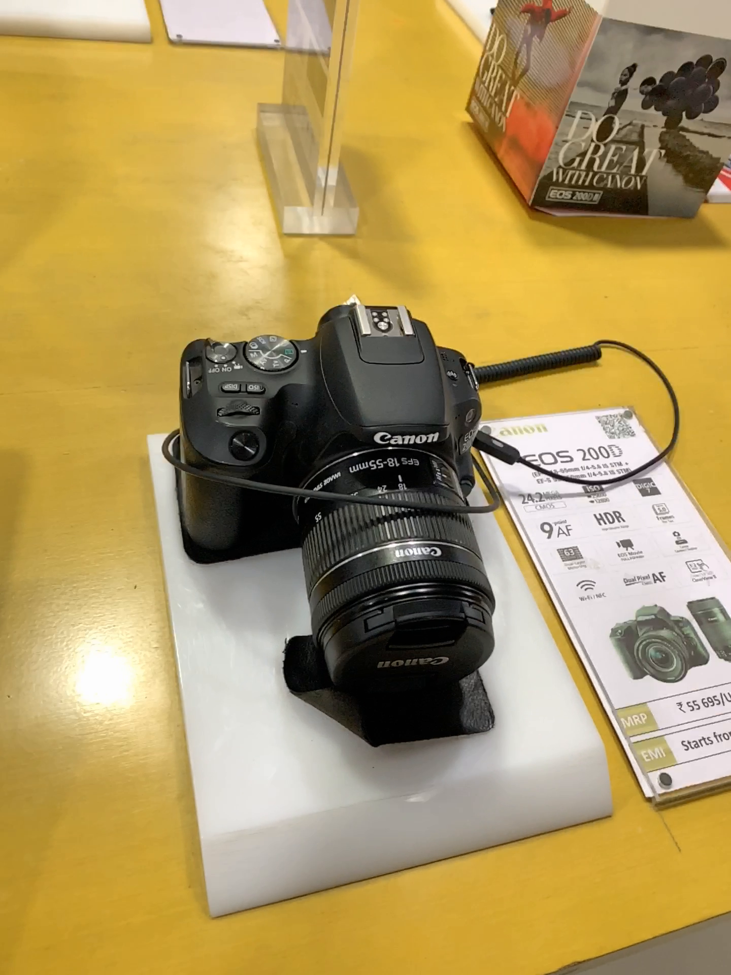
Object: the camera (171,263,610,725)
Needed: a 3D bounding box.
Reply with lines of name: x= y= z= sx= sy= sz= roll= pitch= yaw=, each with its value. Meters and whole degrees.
camera: x=-0.006 y=-0.009 z=0.289 sx=0.120 sy=0.070 sz=0.160 roll=-4 pitch=51 yaw=-15
